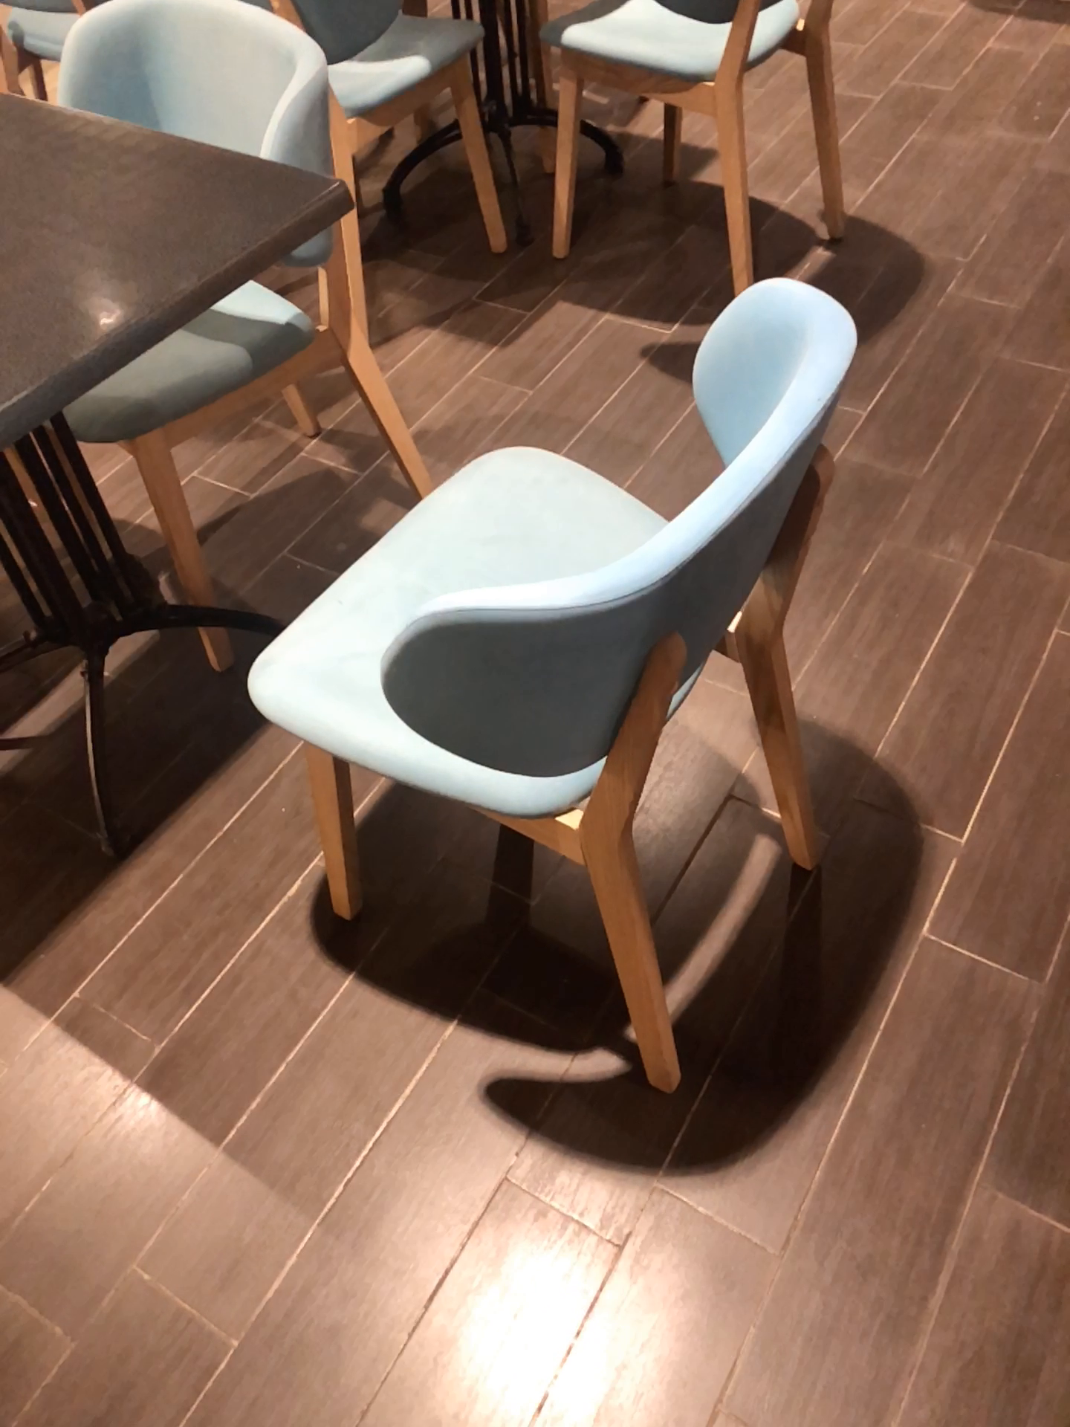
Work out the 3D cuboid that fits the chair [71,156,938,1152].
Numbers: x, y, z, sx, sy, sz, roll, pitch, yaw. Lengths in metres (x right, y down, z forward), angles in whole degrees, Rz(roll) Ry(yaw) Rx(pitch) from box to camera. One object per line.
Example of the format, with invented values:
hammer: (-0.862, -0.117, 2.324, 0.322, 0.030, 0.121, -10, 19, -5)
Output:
chair: (0.012, -0.031, 1.238, 0.511, 0.817, 0.481, 25, 56, 25)
